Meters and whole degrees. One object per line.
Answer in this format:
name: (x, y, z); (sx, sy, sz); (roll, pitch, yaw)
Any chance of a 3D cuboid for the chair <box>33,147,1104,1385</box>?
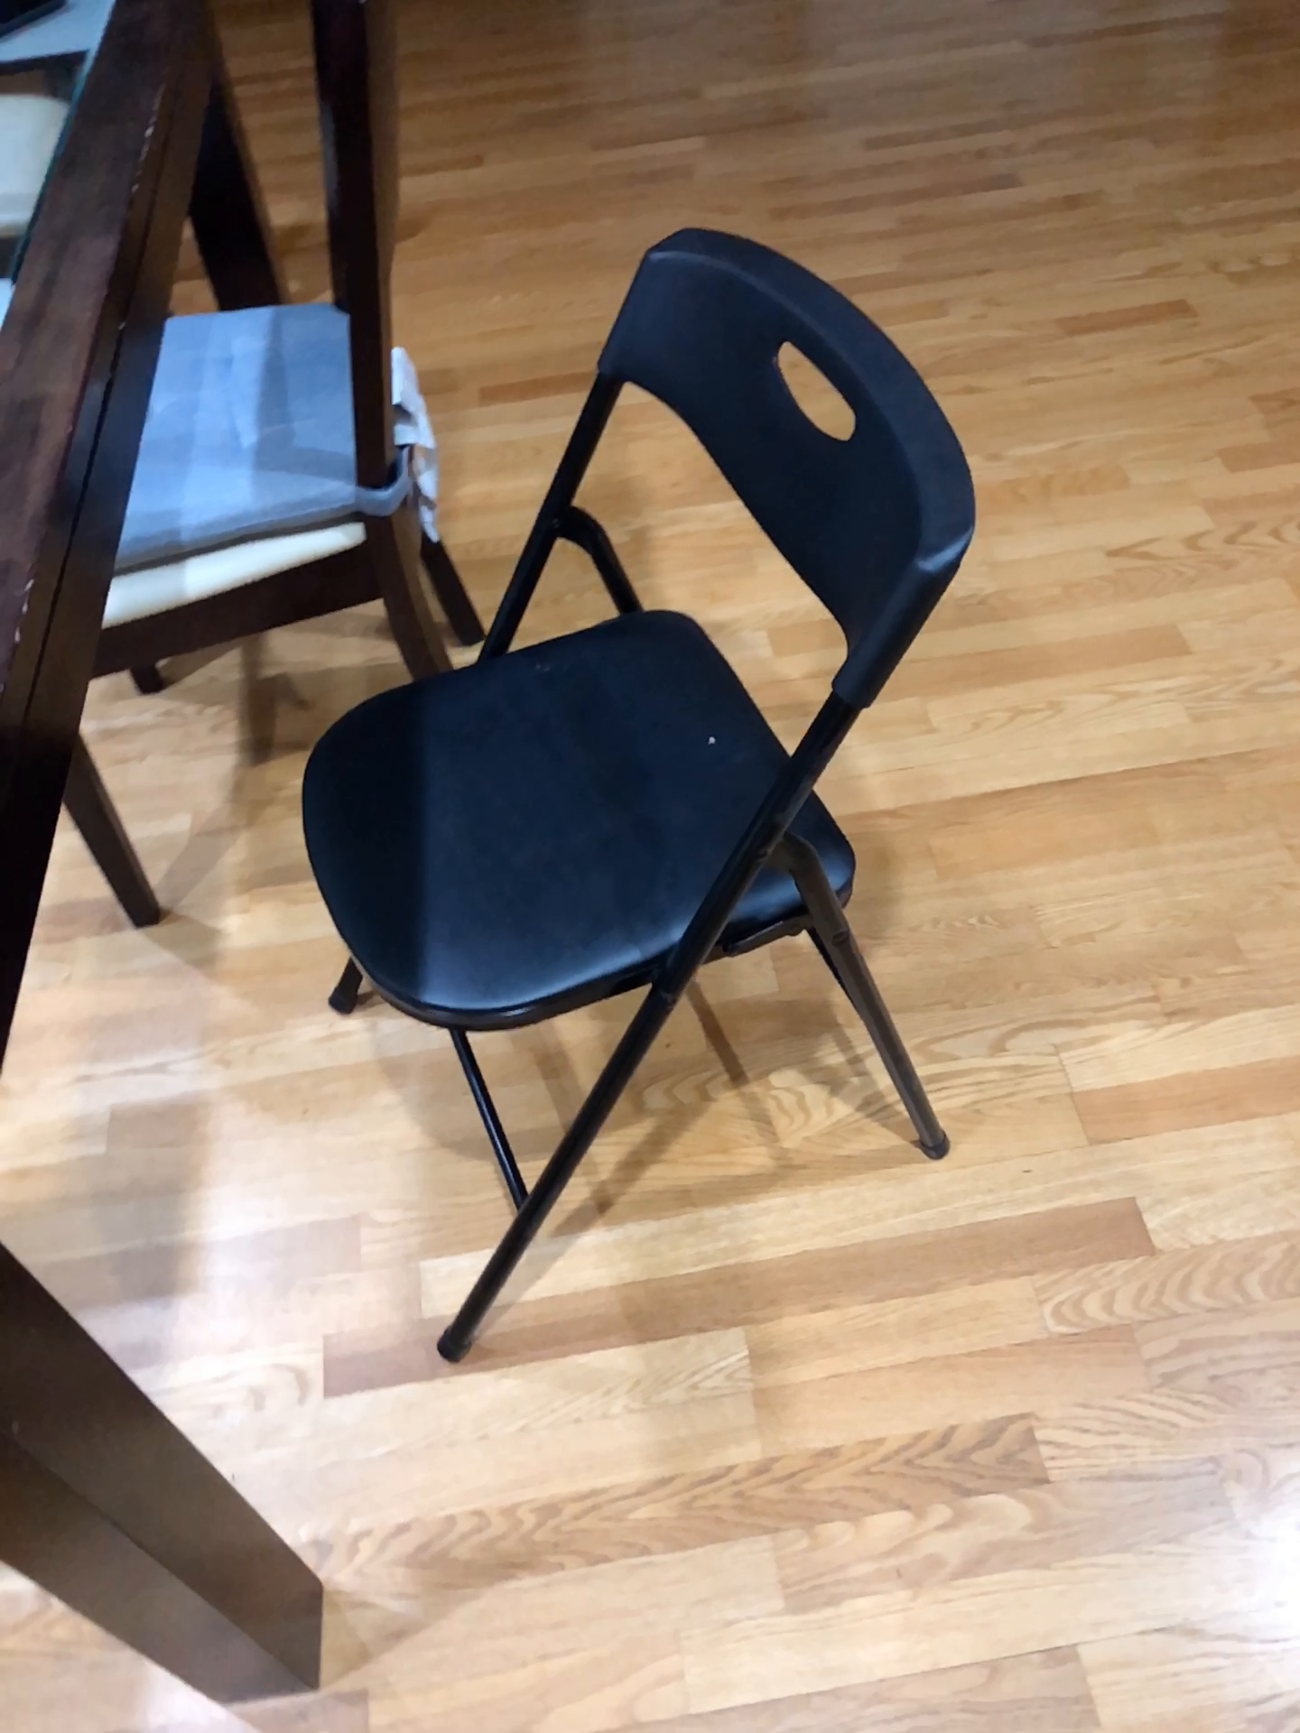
chair: (-0.063, -0.057, 1.137); (0.520, 0.697, 0.522); (-20, 50, -10)
